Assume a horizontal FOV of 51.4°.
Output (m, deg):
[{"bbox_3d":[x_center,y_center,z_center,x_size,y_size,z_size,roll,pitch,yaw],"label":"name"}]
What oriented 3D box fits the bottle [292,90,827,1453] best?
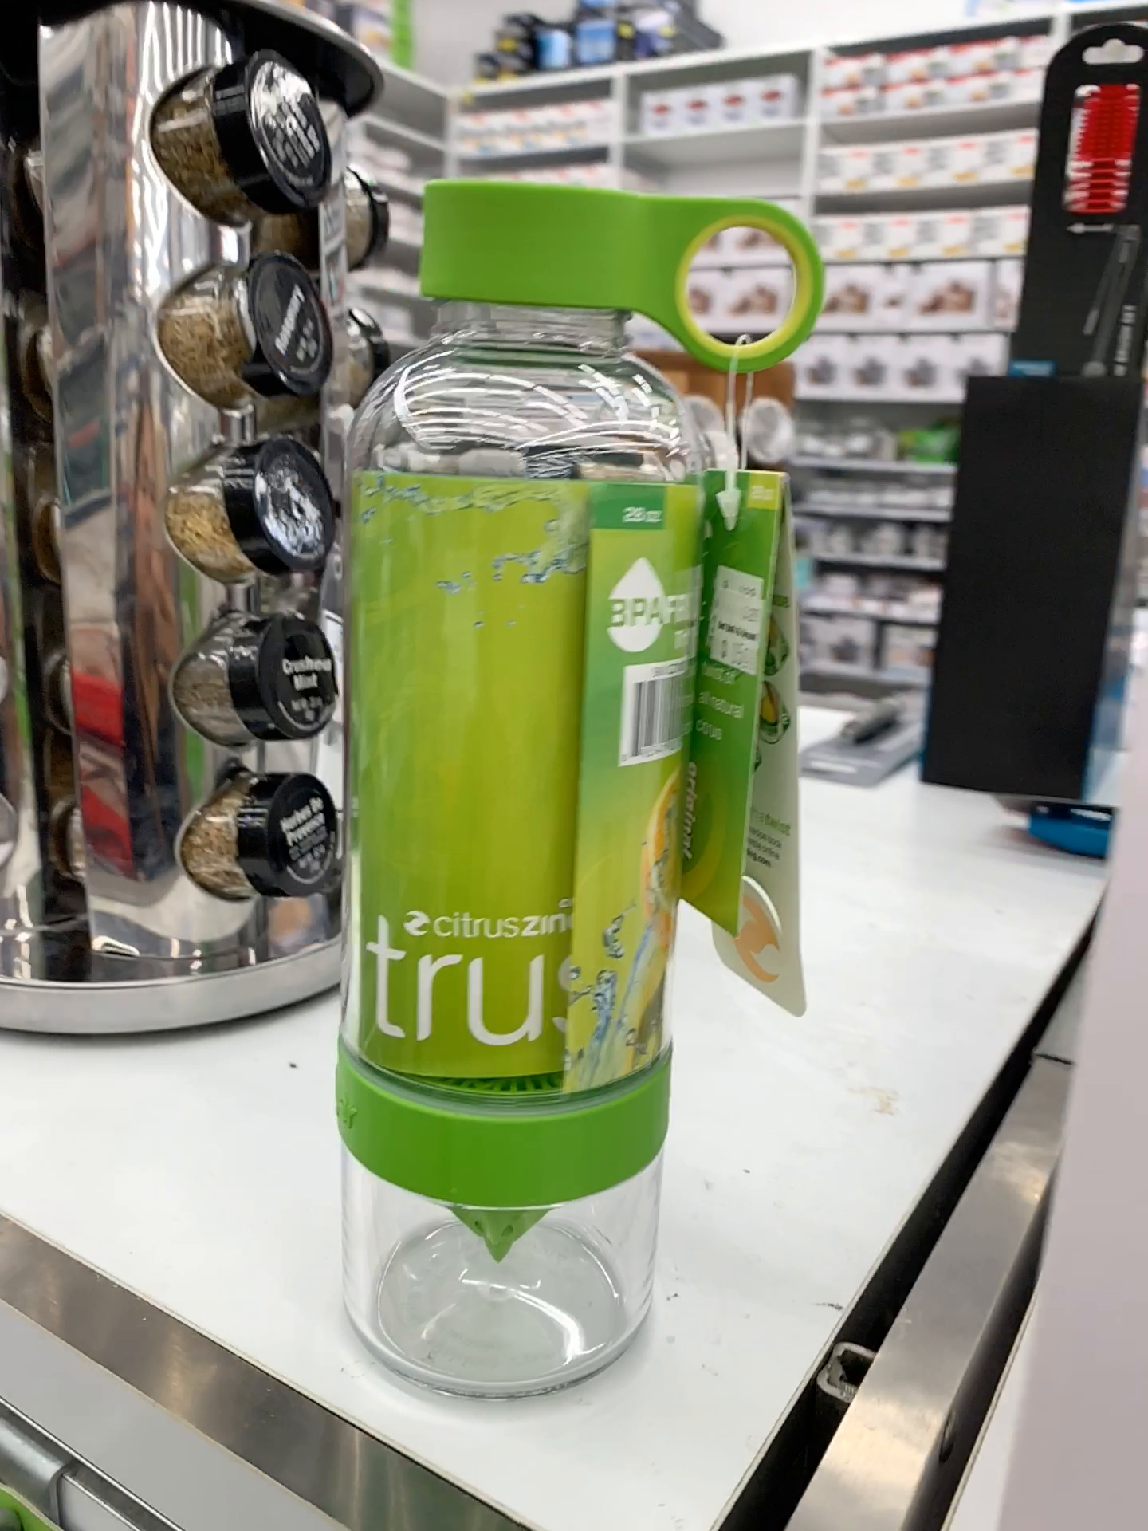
[{"bbox_3d":[-0.014,0.006,0.263,0.081,0.250,0.078,3,14,-1],"label":"bottle"}]
